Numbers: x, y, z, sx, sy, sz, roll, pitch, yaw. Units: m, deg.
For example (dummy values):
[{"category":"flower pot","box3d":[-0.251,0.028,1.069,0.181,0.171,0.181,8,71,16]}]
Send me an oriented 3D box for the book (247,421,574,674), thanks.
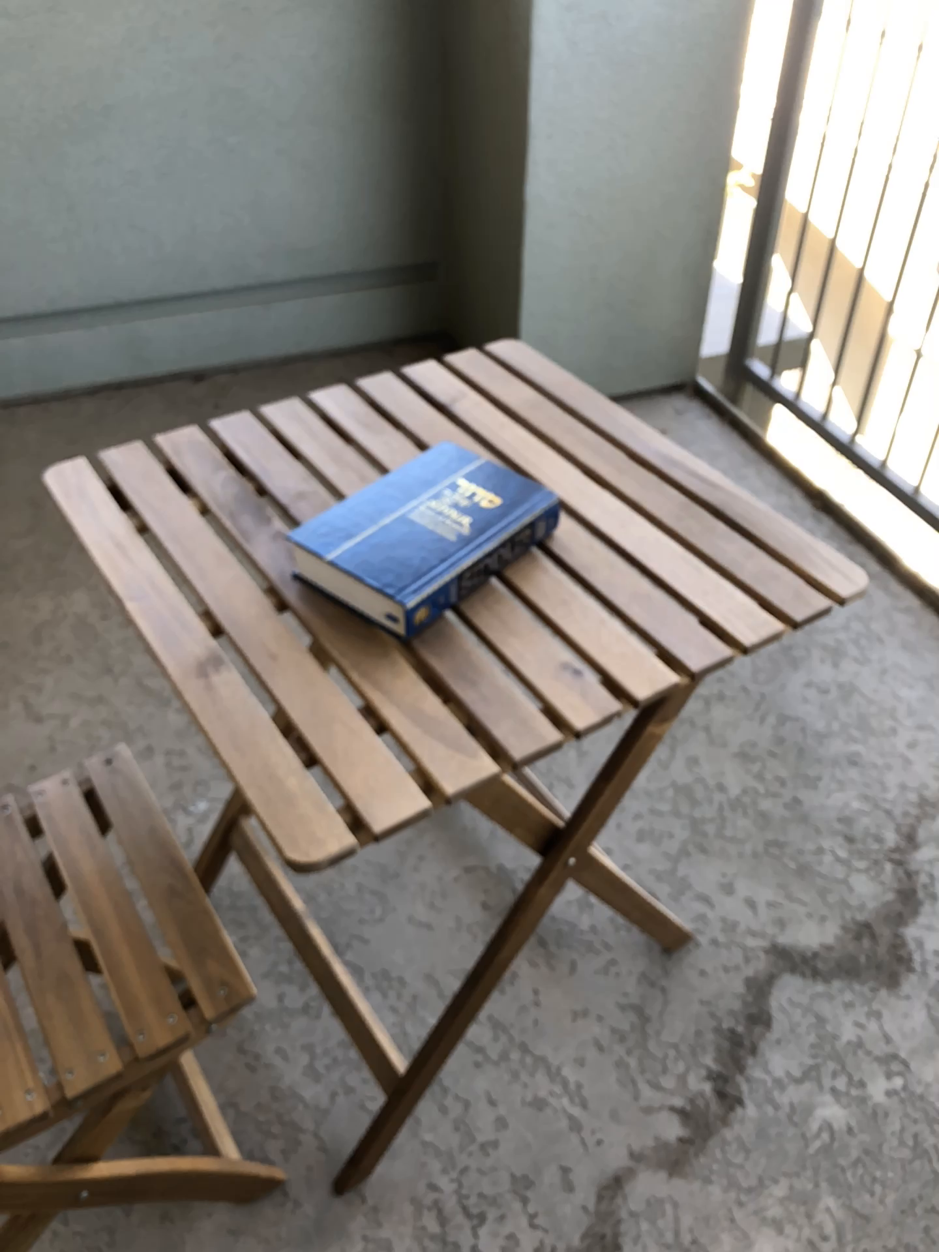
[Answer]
[{"category":"book","box3d":[-0.052,-0.085,0.999,0.200,0.070,0.231,29,49,29]}]
